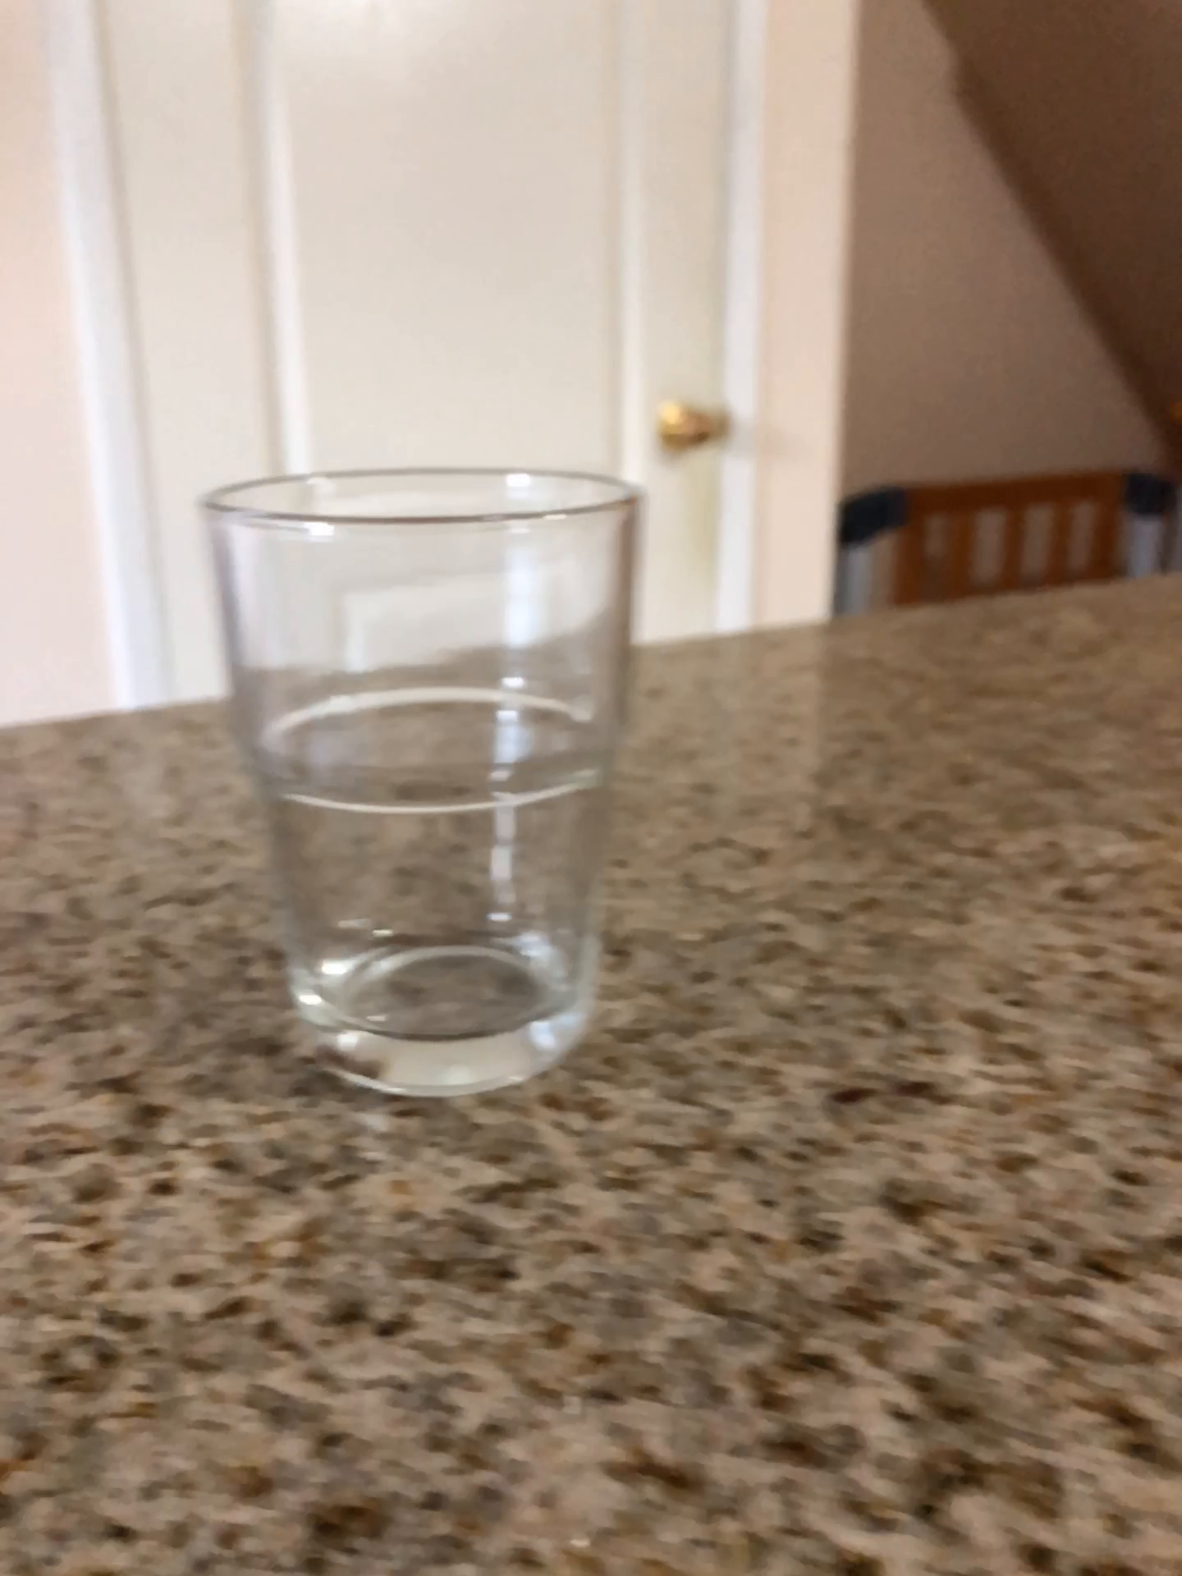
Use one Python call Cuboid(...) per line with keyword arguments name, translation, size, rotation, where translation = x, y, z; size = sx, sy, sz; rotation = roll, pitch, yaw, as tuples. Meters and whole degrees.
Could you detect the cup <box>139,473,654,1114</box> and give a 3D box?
Cuboid(name="cup", translation=(-0.030, -0.005, 0.253), size=(0.070, 0.100, 0.070), rotation=(0, 18, 0))
